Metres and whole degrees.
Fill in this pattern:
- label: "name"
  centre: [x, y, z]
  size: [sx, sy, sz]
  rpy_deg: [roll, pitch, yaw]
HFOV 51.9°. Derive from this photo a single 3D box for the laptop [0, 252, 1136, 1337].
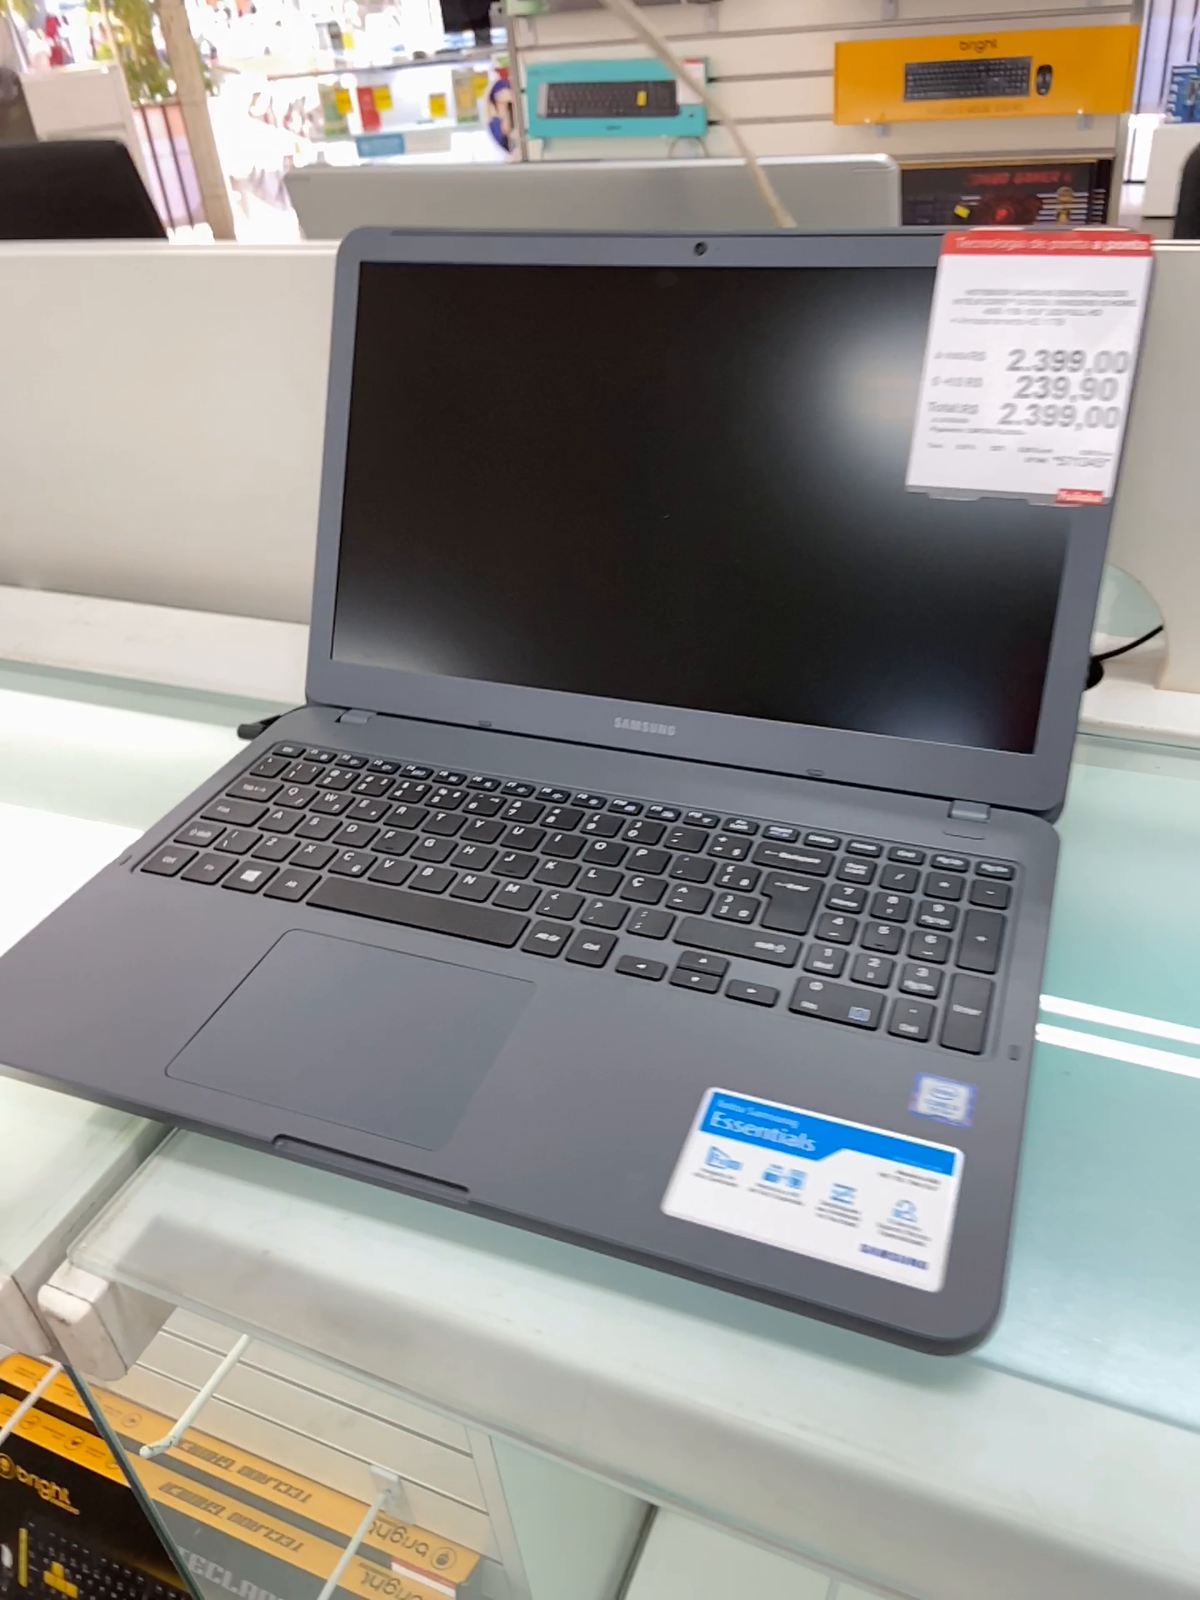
- label: "laptop"
  centre: [-0.014, -0.065, 0.461]
  size: [0.360, 0.197, 0.353]
  rpy_deg: [9, 36, 20]
